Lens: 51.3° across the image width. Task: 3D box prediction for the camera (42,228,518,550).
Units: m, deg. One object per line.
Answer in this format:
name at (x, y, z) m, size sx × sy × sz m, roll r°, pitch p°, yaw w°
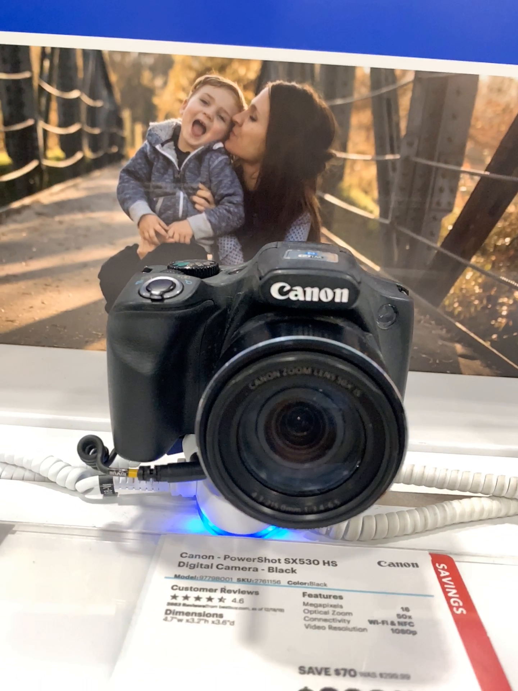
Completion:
camera at (0.003, 0.006, 0.194) m, size 0.124 × 0.080 × 0.090 m, roll 4°, pitch 16°, yaw -1°
